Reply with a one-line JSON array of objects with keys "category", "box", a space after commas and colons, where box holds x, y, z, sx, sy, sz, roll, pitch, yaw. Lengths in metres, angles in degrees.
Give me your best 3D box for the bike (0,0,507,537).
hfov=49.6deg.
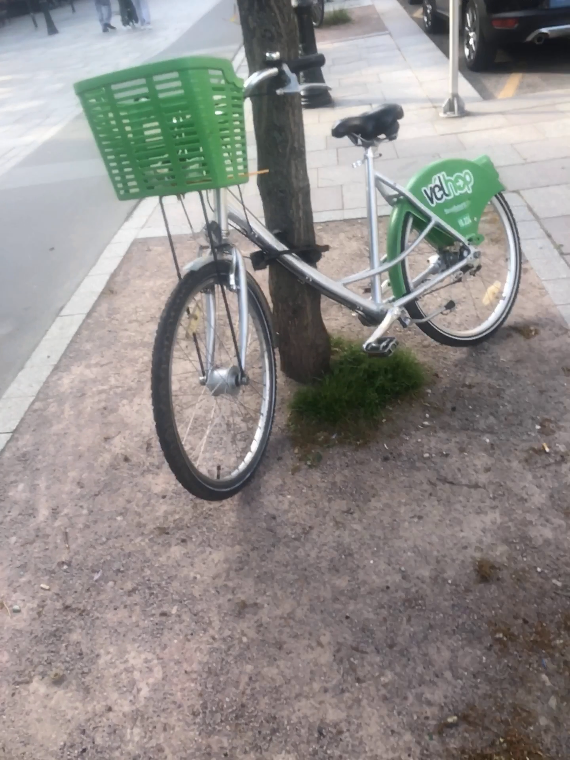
[{"category": "bike", "box": [0.167, -0.486, 1.955, 0.311, 1.114, 1.728, 21, 43, 37]}]
